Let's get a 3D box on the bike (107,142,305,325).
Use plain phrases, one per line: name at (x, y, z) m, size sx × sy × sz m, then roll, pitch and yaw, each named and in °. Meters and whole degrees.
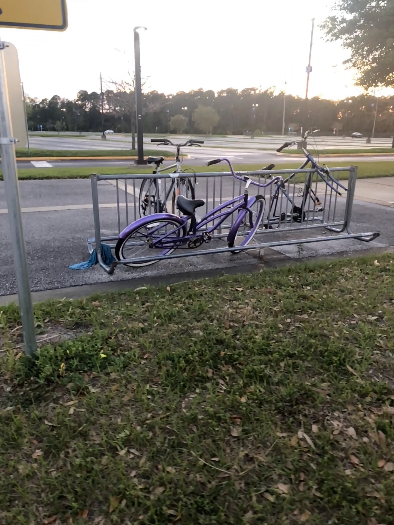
bike at (0.093, -0.409, 3.873) m, size 1.703 × 1.117 × 0.852 m, roll -15°, pitch 22°, yaw -32°
